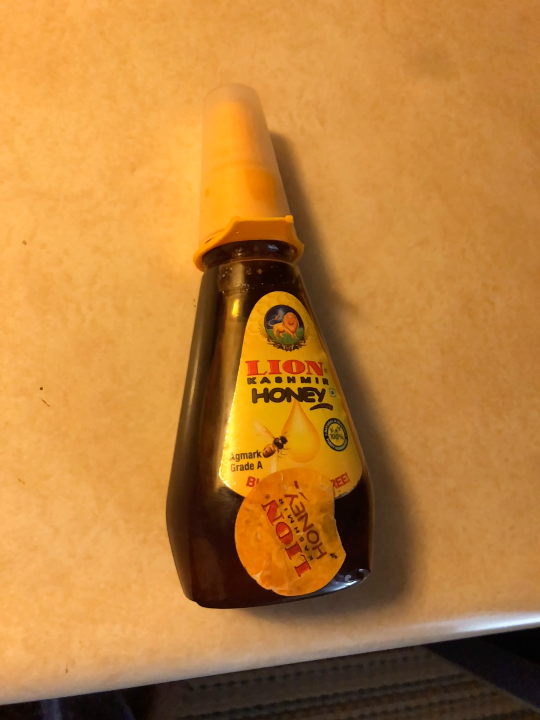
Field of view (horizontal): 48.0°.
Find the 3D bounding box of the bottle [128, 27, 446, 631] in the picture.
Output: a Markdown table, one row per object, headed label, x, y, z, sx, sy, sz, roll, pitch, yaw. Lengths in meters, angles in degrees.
| label | x | y | z | sx | sy | sz | roll | pitch | yaw |
| --- | --- | --- | --- | --- | --- | --- | --- | --- | --- |
| bottle | 0.001 | -0.013 | 0.227 | 0.090 | 0.050 | 0.190 | -2 | 82 | -21 |
